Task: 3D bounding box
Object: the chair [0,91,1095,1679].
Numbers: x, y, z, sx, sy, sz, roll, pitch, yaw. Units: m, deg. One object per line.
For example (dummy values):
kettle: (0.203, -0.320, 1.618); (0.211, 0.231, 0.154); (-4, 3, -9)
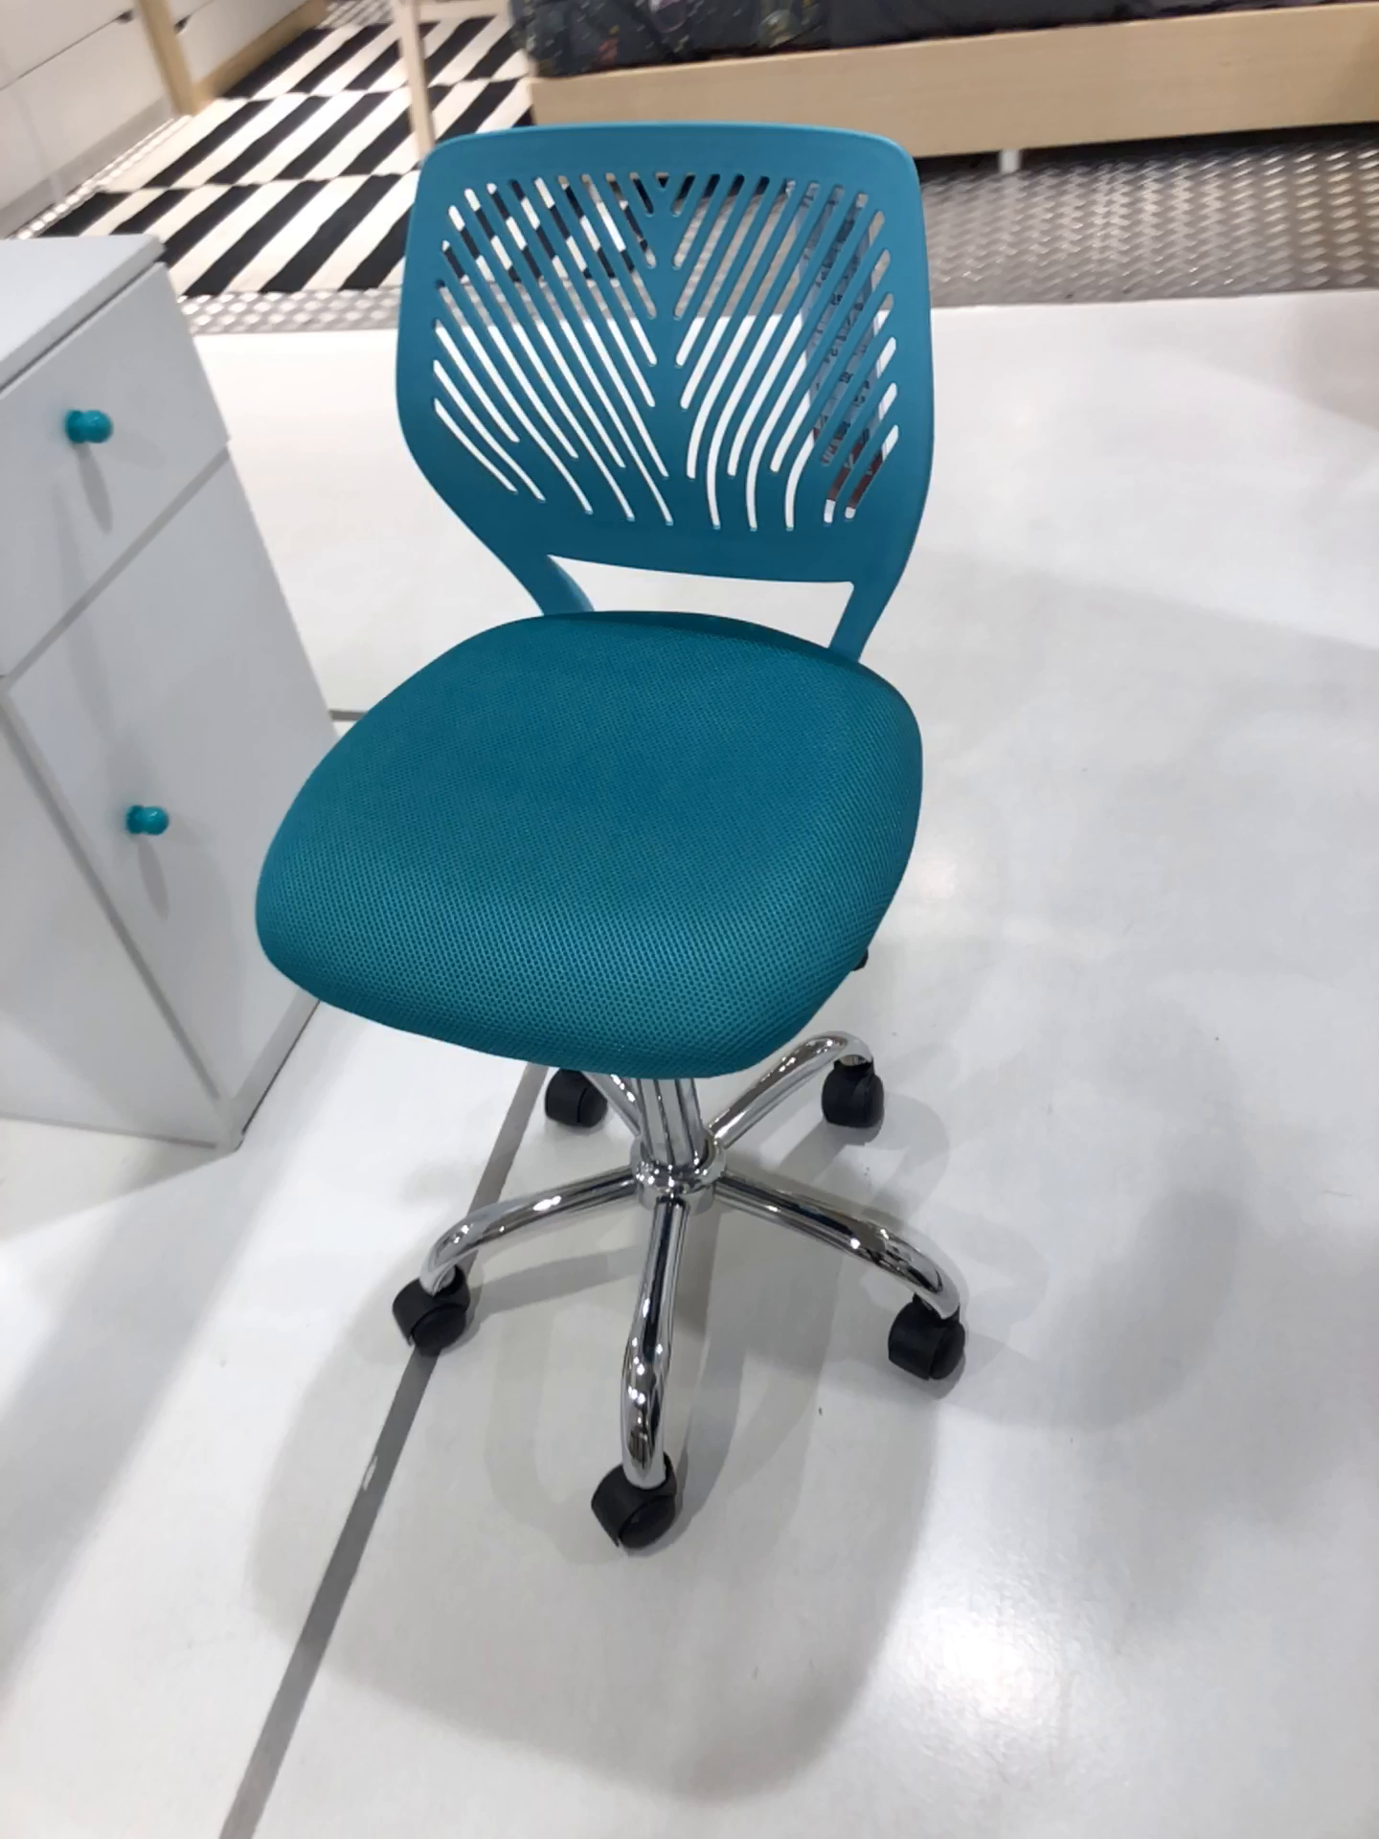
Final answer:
chair: (-0.050, -0.004, 0.983); (0.480, 0.805, 0.533); (10, 47, 21)
